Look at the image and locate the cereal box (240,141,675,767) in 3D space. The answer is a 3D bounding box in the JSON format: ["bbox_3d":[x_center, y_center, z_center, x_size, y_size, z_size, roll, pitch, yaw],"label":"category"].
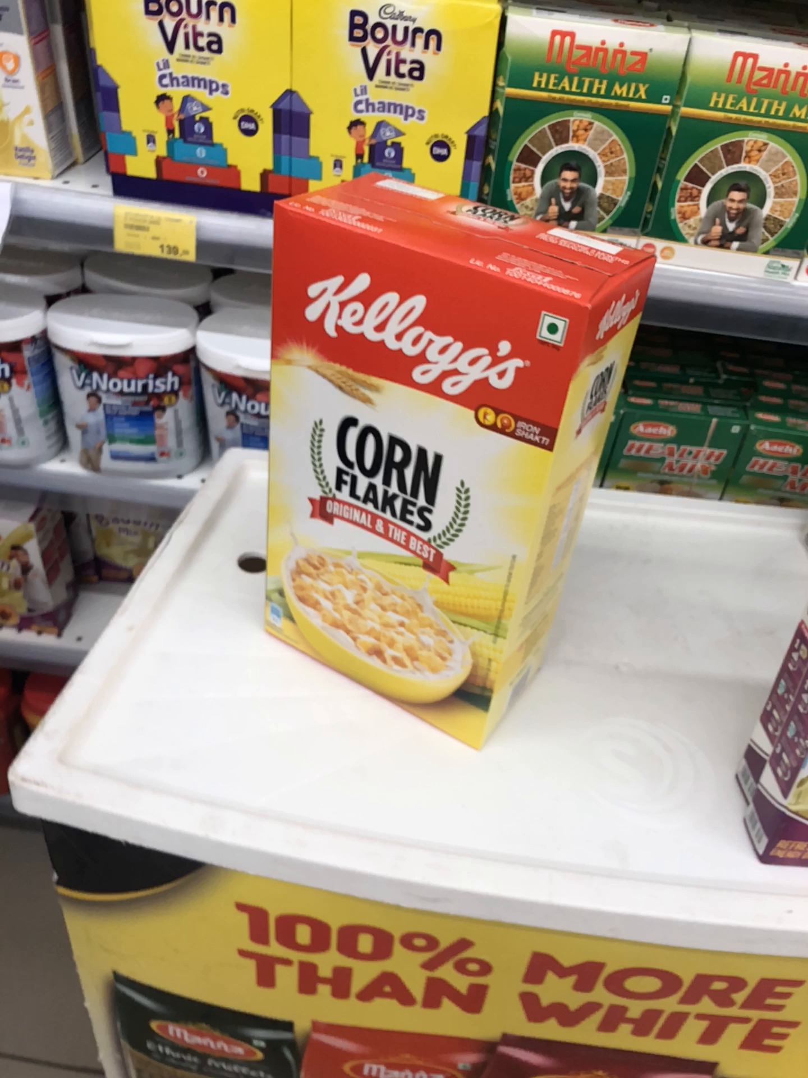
[{"bbox_3d":[0.015,-0.047,0.568,0.200,0.329,0.110,25,41,24],"label":"cereal box"}]
